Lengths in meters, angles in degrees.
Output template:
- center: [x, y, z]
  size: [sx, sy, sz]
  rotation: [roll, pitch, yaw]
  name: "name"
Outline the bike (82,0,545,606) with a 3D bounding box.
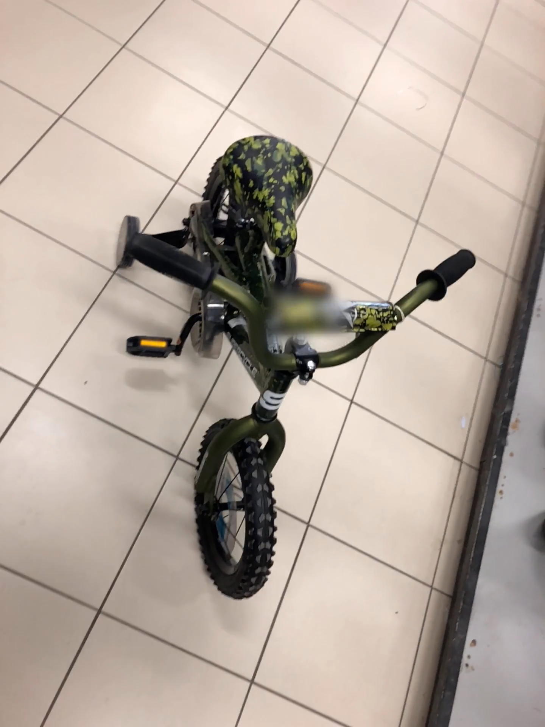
- center: [-0.006, -0.071, 0.962]
  size: [0.533, 0.557, 0.817]
  rotation: [3, 65, -20]
  name: "bike"
